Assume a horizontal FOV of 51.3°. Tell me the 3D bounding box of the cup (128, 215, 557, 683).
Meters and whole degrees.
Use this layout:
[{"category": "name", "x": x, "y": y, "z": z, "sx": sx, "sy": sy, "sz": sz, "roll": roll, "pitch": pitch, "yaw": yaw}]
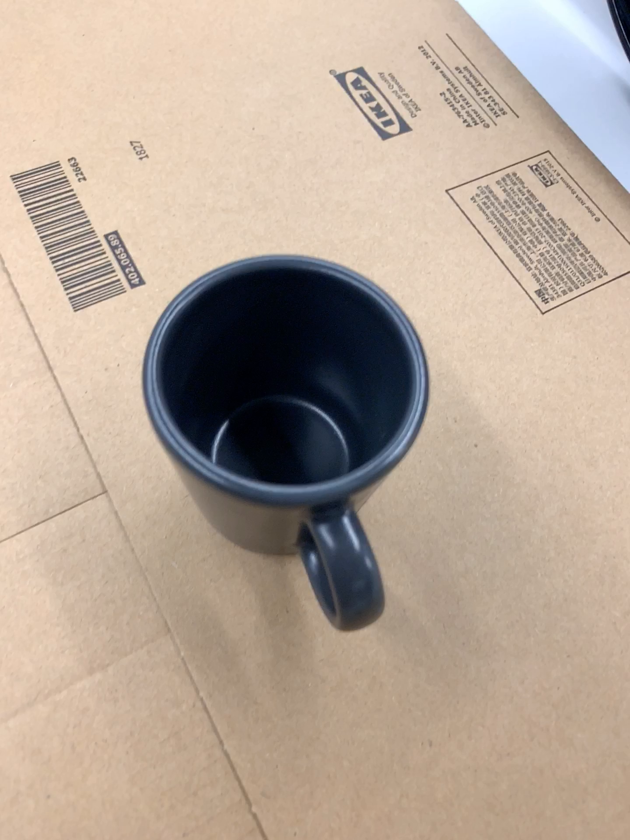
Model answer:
[{"category": "cup", "x": -0.001, "y": 0.010, "z": 0.159, "sx": 0.060, "sy": 0.070, "sz": 0.080, "roll": -16, "pitch": 68, "yaw": -14}]
